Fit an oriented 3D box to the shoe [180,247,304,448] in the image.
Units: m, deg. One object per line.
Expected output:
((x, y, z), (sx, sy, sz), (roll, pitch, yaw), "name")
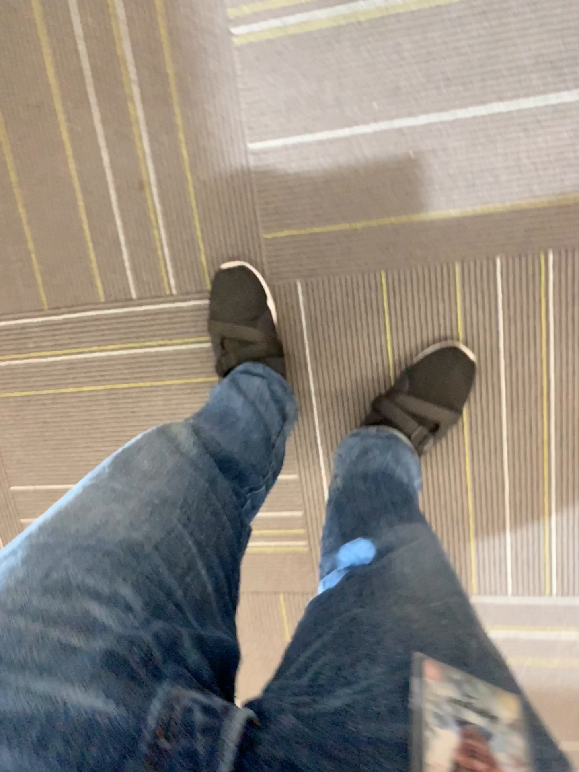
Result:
((-0.070, -0.064, 0.997), (0.120, 0.120, 0.300), (-7, 106, 14), "shoe")

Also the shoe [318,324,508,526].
((0.191, 0.064, 0.967), (0.120, 0.110, 0.301), (37, 111, -2), "shoe")
